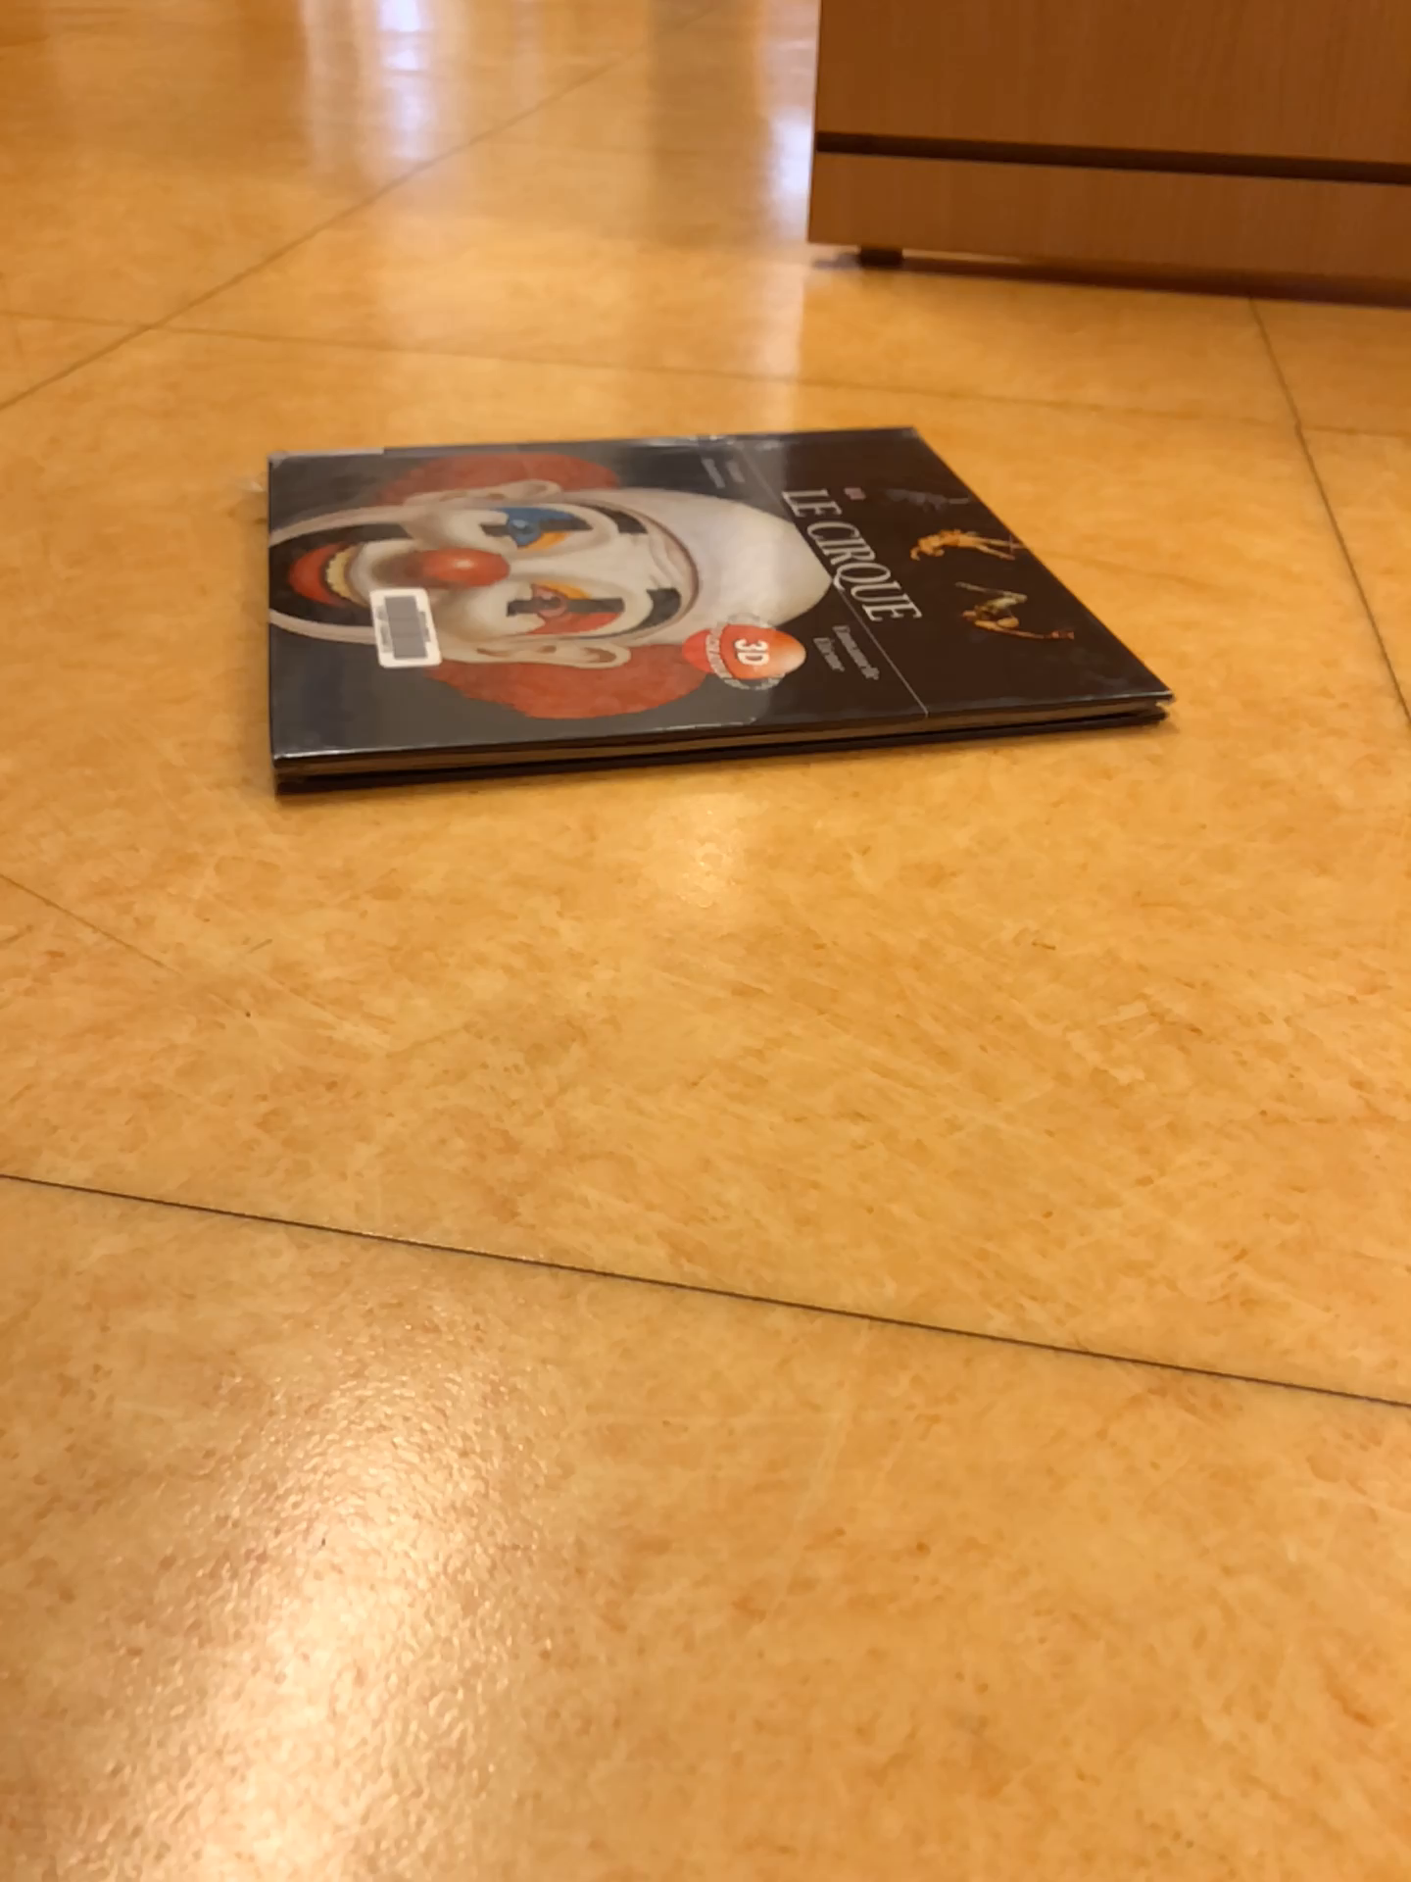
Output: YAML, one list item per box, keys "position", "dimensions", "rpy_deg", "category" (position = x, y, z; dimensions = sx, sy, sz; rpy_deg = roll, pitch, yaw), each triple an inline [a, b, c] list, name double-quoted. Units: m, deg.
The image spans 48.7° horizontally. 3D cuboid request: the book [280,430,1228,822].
- position: [-0.005, -0.106, 0.460]
  dimensions: [0.233, 0.012, 0.215]
  rpy_deg: [-6, 37, -11]
  category: "book"
